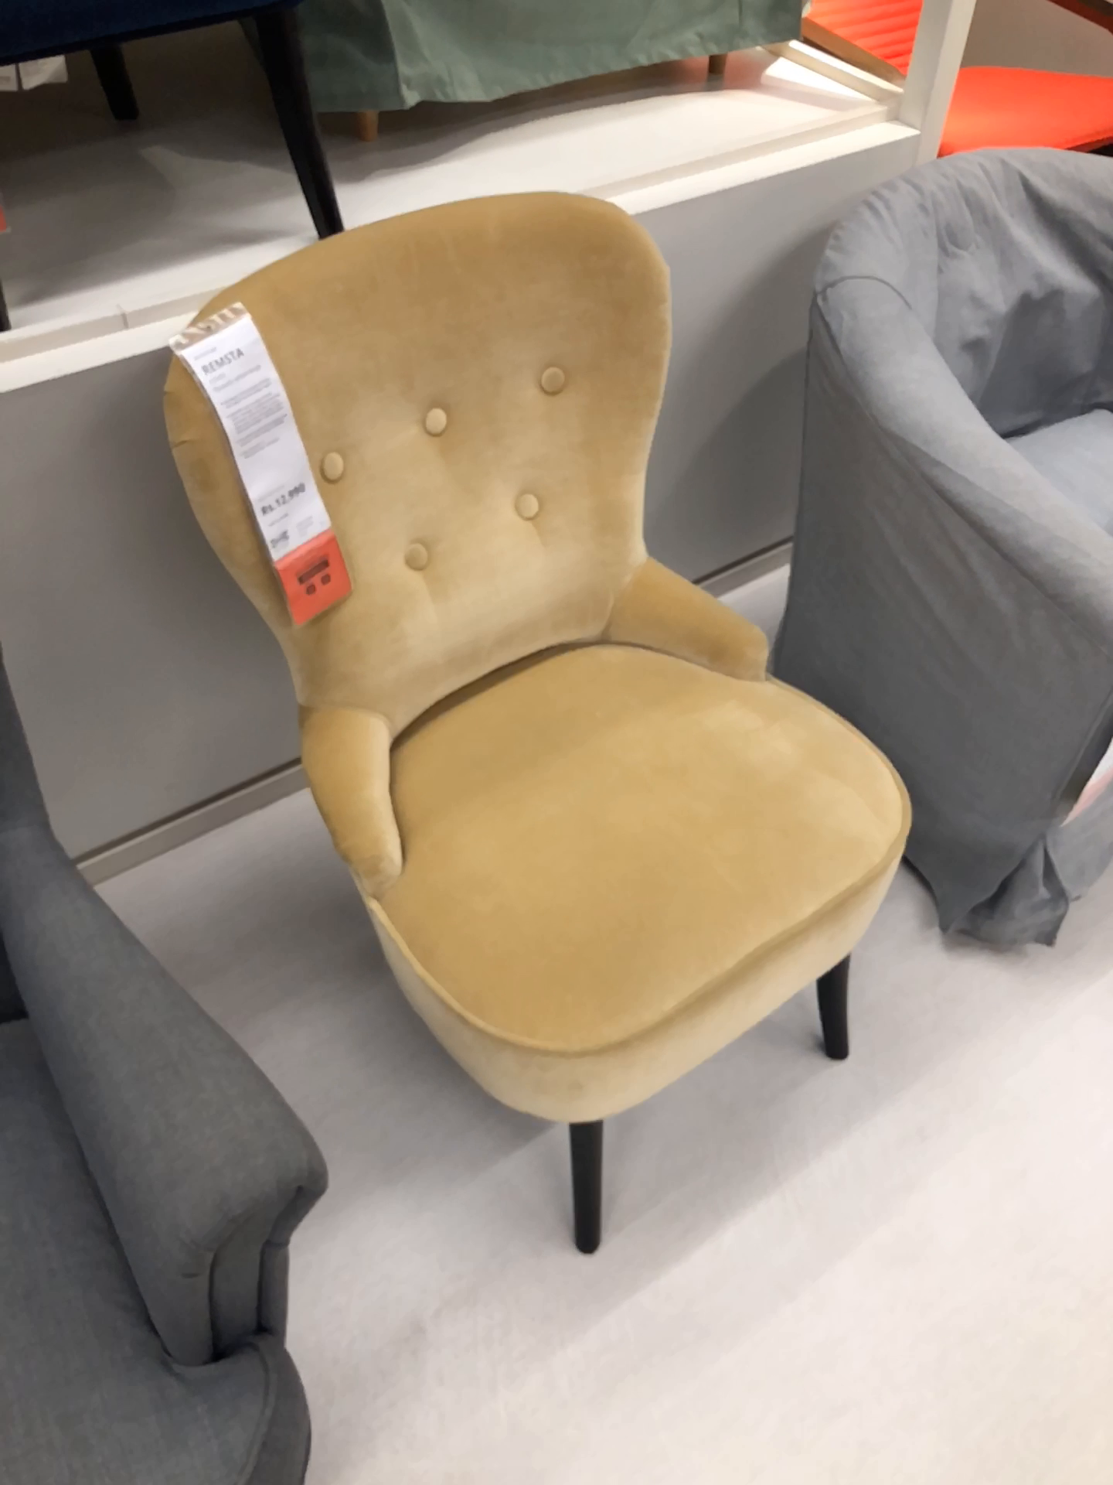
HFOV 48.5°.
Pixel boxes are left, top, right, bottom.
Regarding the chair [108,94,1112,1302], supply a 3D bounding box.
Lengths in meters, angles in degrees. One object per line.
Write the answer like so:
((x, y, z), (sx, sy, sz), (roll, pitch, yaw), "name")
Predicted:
((0.053, -0.036, 1.250), (0.581, 0.865, 0.642), (-28, 54, -25), "chair")
